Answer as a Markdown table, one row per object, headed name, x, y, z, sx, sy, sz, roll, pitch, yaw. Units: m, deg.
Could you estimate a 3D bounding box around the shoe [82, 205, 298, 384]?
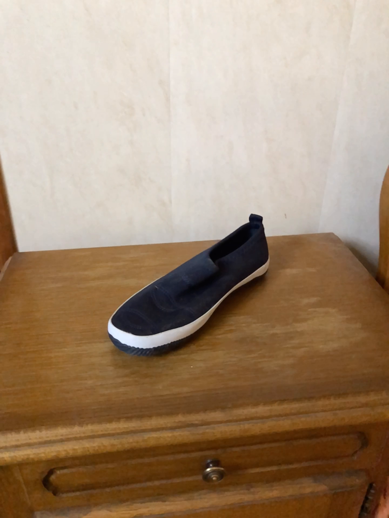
| name | x | y | z | sx | sy | sz | roll | pitch | yaw |
| --- | --- | --- | --- | --- | --- | --- | --- | --- | --- |
| shoe | 0.009 | 0.022 | 0.511 | 0.100 | 0.080 | 0.262 | 23 | 36 | 35 |
